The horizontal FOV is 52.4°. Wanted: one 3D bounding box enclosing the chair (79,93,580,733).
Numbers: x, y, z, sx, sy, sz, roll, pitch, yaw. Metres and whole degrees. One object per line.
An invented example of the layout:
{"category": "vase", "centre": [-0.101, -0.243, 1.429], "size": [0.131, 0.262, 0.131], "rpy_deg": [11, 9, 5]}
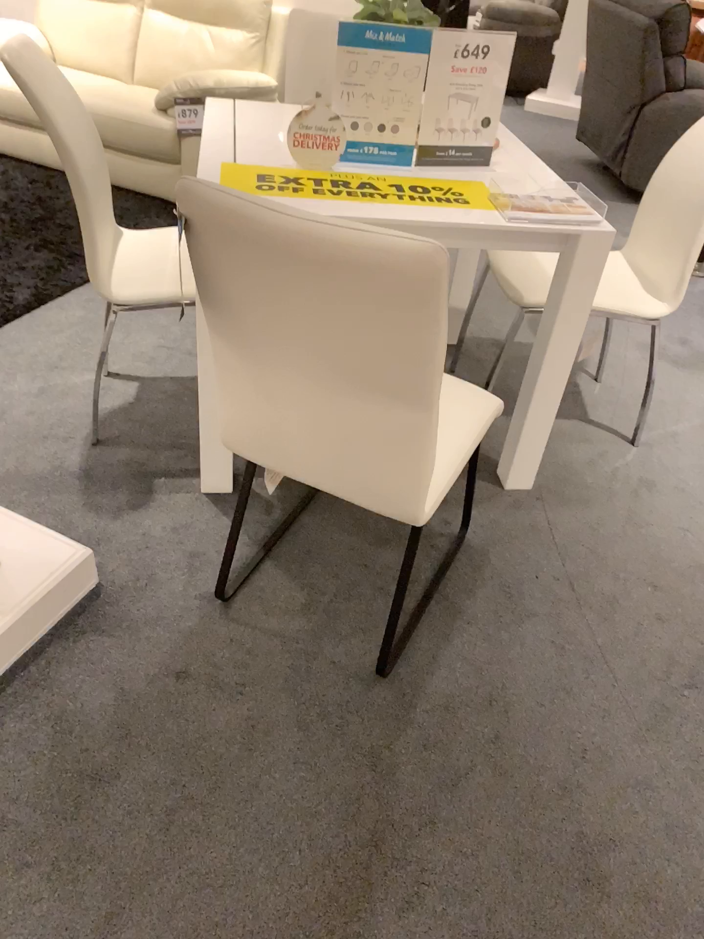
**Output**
{"category": "chair", "centre": [-0.022, -0.121, 1.354], "size": [0.541, 0.891, 0.636], "rpy_deg": [20, 40, 15]}
